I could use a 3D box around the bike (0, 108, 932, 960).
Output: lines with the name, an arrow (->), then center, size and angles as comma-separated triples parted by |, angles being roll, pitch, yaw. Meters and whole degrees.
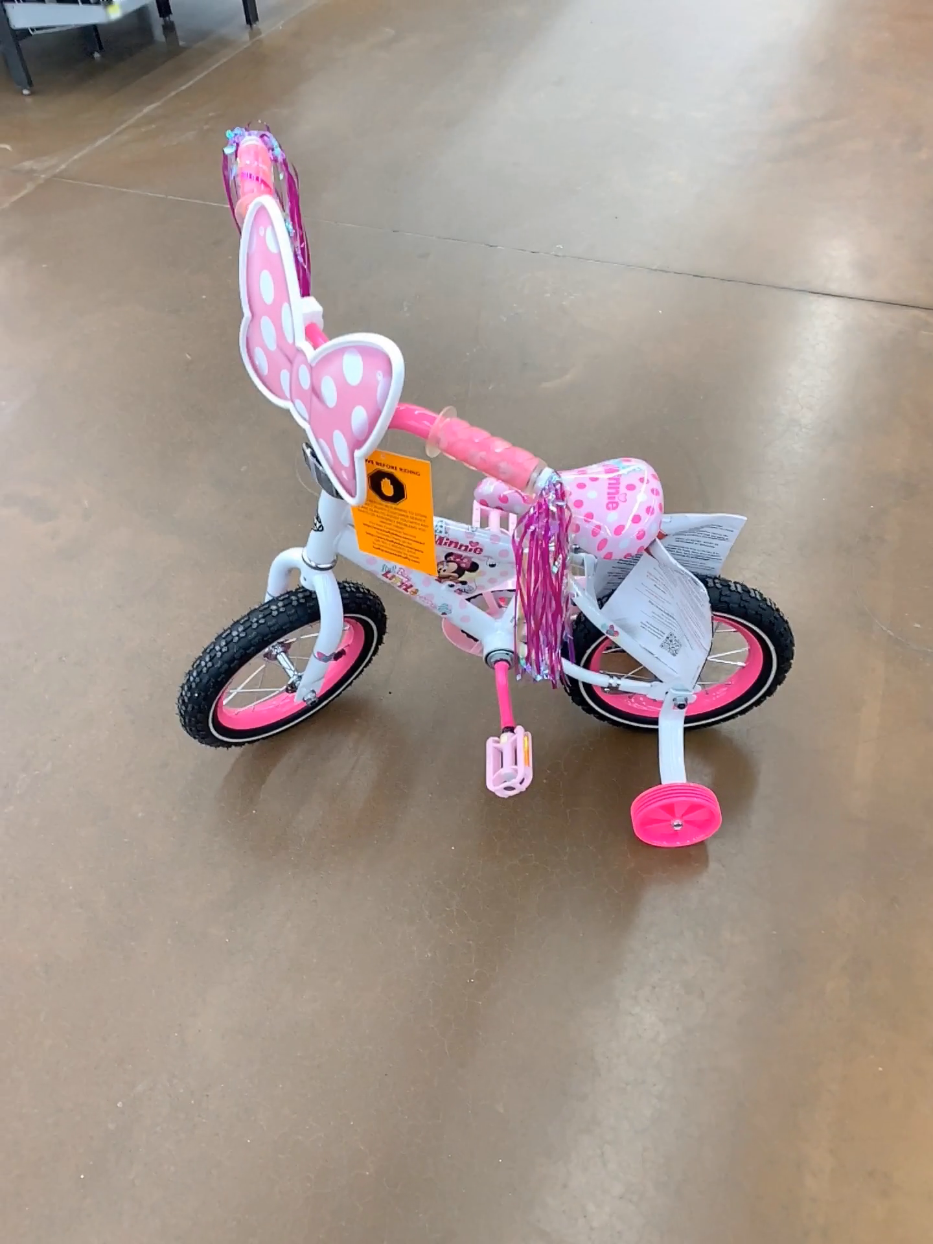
bike -> 0.034, -0.057, 1.021 | 0.759, 0.750, 0.445 | -9, 47, -7
